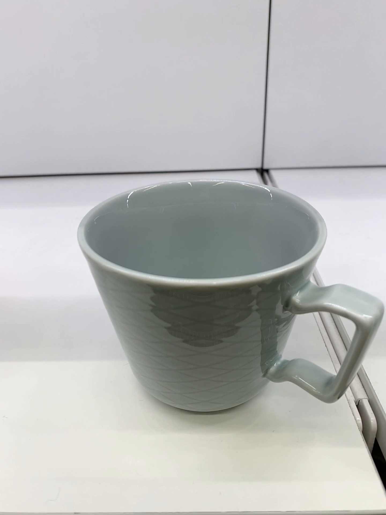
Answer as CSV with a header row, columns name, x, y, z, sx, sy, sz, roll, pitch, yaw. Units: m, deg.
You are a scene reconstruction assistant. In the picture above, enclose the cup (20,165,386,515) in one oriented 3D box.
name,x,y,z,sx,sy,sz,roll,pitch,yaw
cup,0.016,0.023,0.183,0.124,0.088,0.109,18,34,32
